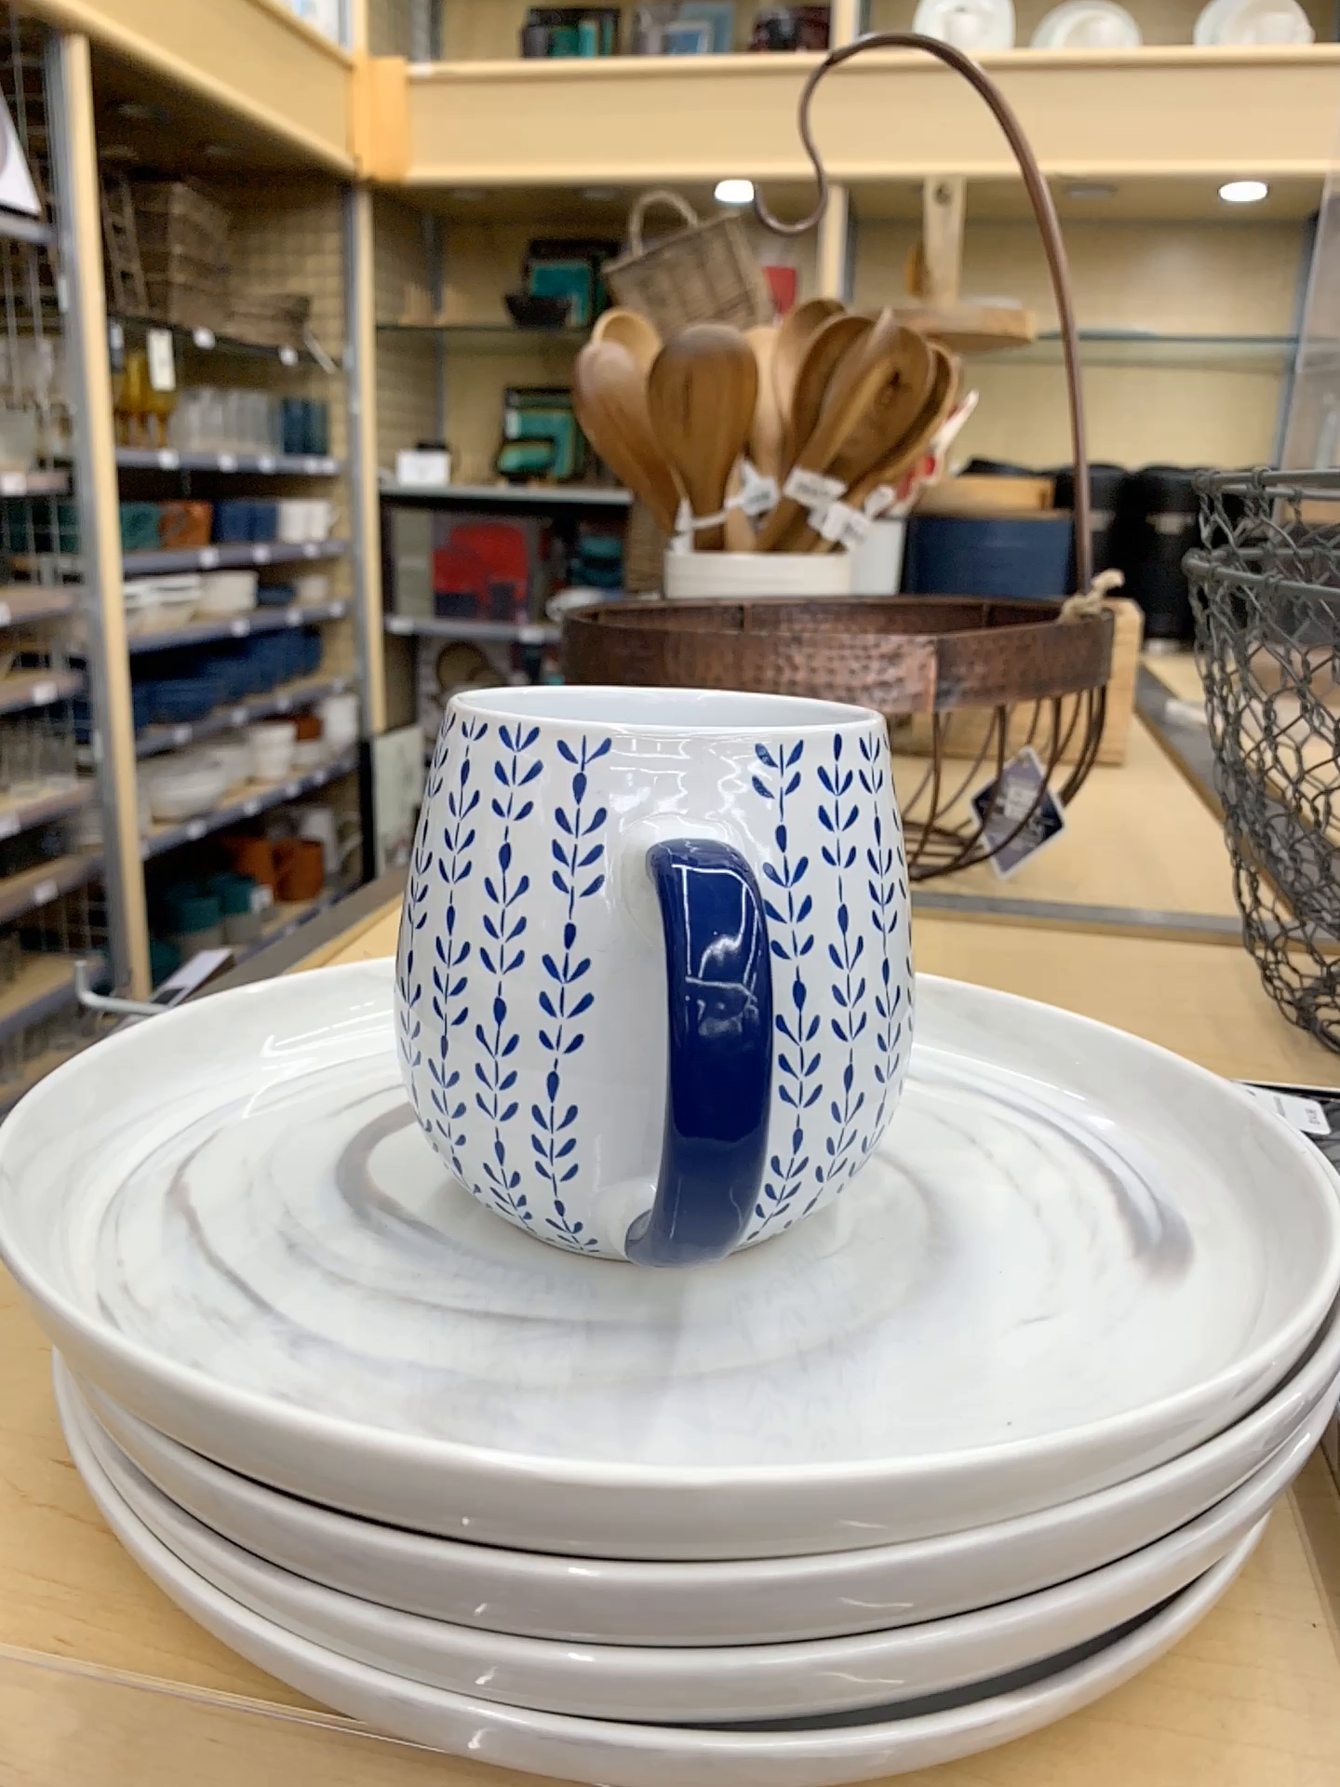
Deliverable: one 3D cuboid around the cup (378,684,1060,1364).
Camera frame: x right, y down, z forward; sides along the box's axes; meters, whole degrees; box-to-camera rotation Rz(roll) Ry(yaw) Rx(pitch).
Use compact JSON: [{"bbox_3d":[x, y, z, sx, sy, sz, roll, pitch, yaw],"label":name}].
[{"bbox_3d":[0.001,0.013,0.282,0.104,0.097,0.128,-1,14,-6],"label":"cup"}]
